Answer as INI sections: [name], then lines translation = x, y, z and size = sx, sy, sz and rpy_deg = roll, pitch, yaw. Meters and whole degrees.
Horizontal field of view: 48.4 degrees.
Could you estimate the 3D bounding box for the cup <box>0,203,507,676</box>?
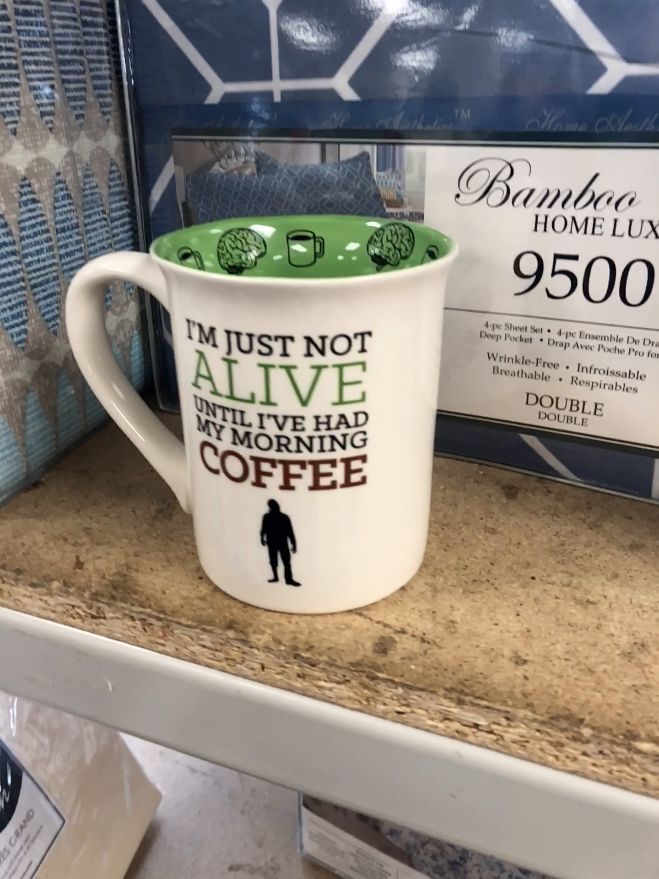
[cup]
translation = -0.019, -0.013, 0.269
size = 0.138, 0.124, 0.100
rpy_deg = 9, 27, 20
